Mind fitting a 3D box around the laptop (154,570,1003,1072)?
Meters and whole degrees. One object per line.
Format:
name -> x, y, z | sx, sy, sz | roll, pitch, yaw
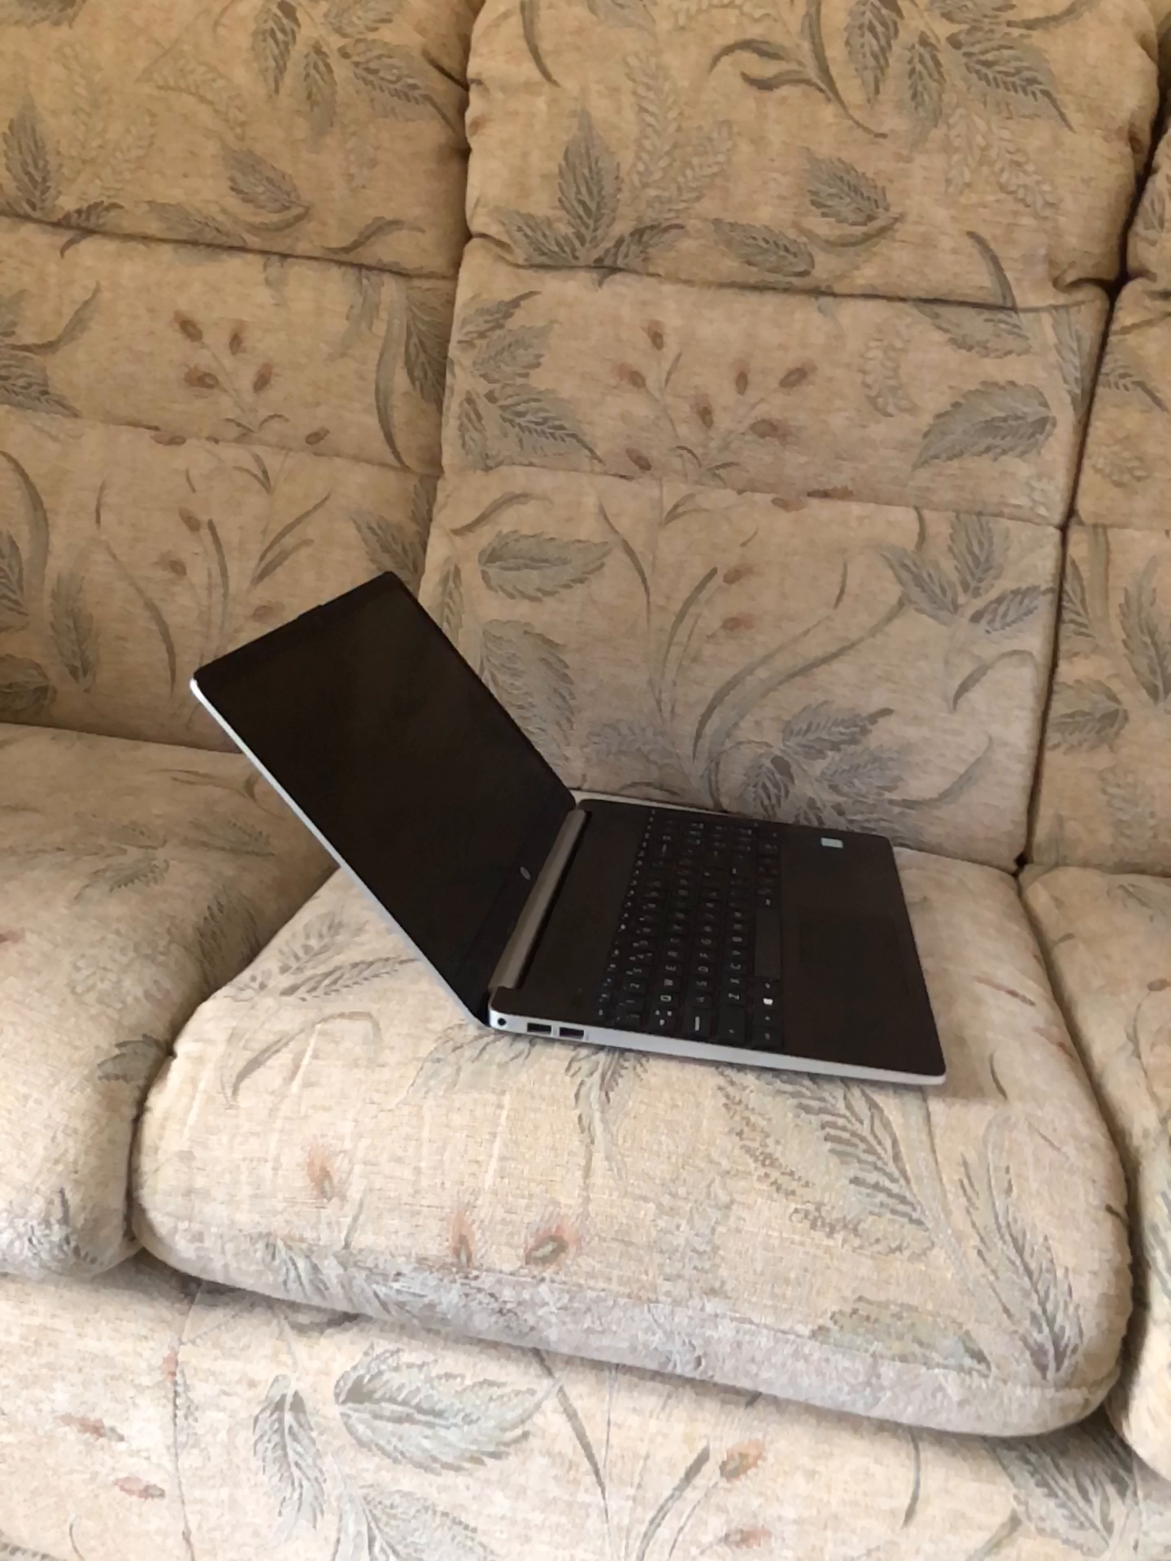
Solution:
laptop -> 0.014, -0.003, 0.791 | 0.397, 0.163, 0.340 | 7, 20, 5
